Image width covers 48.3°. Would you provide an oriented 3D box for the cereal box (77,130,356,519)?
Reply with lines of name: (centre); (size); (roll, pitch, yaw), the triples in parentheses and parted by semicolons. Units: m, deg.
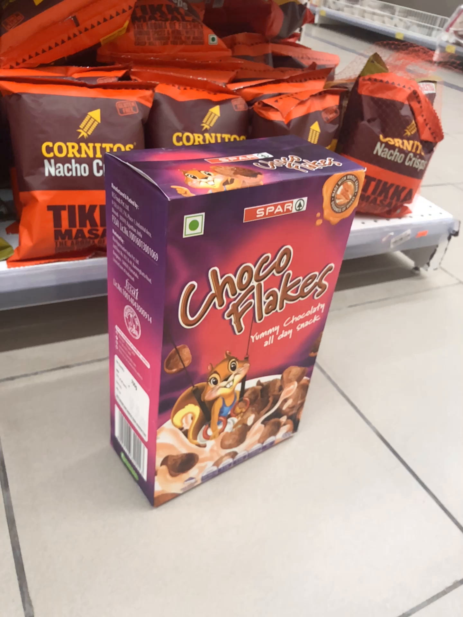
cereal box: (-0.027, 0.021, 0.494); (0.200, 0.339, 0.090); (-18, 43, -34)
